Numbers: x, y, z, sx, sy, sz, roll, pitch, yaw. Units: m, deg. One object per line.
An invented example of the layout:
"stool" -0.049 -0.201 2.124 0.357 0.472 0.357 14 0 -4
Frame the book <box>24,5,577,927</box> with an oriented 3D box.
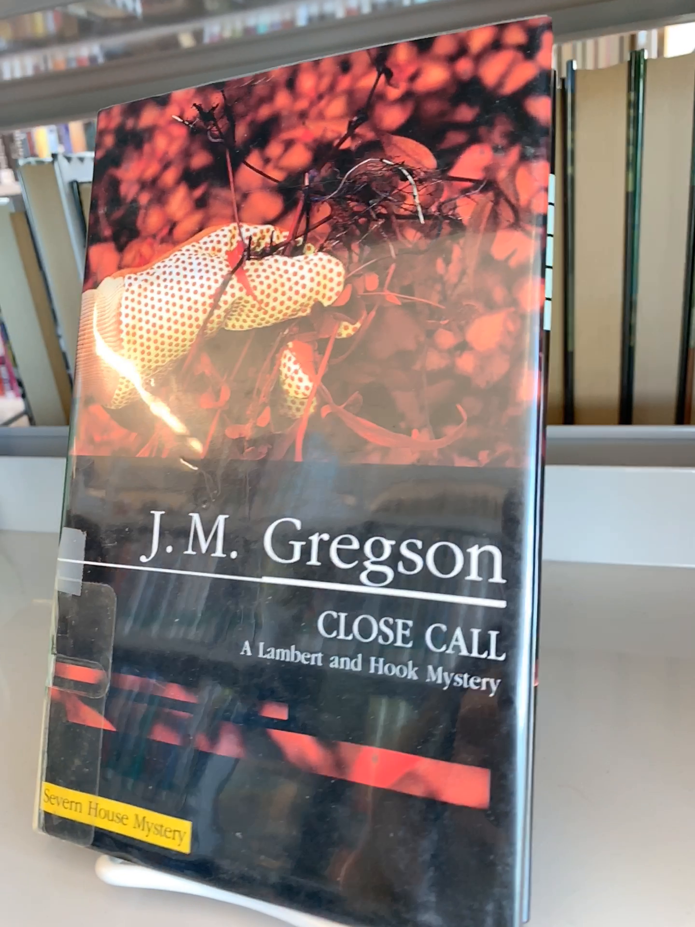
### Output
"book" -0.016 0.001 0.196 0.140 0.208 0.030 2 -4 23
